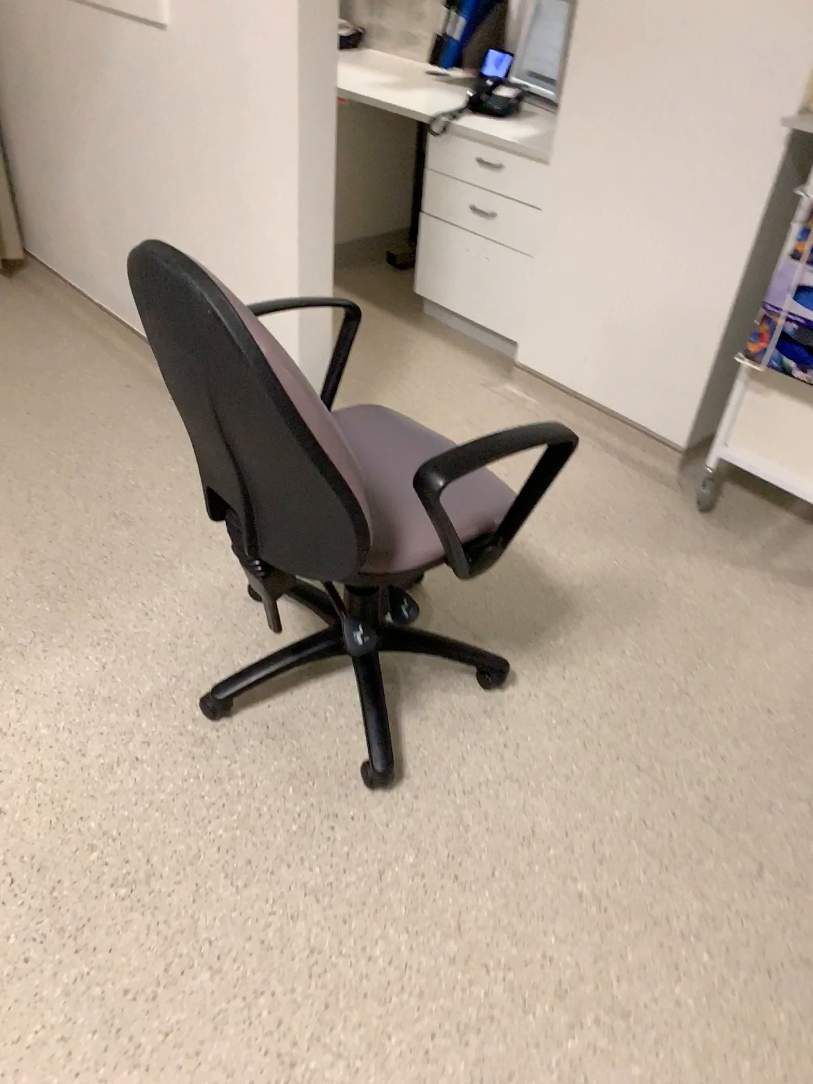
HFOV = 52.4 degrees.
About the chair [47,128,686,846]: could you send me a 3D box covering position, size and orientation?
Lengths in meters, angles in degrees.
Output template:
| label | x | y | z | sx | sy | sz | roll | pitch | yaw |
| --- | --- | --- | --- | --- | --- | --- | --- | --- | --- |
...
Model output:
| label | x | y | z | sx | sy | sz | roll | pitch | yaw |
| --- | --- | --- | --- | --- | --- | --- | --- | --- | --- |
| chair | -0.087 | -0.135 | 1.446 | 0.656 | 0.900 | 0.635 | -27 | 48 | -35 |
